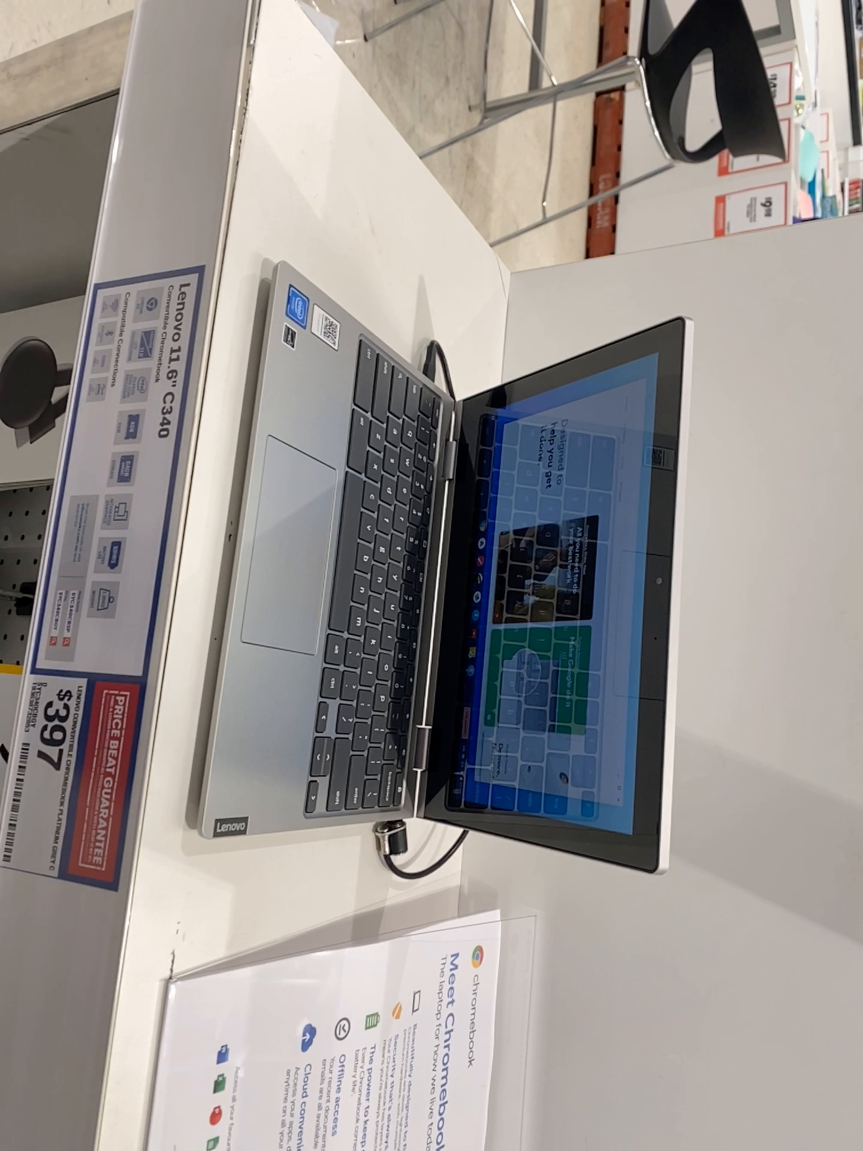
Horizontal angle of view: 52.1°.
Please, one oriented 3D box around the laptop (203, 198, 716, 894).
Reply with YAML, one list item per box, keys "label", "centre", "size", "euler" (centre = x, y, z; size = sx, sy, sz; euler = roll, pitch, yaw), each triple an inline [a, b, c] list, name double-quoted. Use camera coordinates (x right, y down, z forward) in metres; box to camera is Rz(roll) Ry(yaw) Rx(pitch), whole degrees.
- label: "laptop"
  centre: [0.035, -0.002, 0.479]
  size: [0.201, 0.180, 0.283]
  euler: [23, 70, -59]
